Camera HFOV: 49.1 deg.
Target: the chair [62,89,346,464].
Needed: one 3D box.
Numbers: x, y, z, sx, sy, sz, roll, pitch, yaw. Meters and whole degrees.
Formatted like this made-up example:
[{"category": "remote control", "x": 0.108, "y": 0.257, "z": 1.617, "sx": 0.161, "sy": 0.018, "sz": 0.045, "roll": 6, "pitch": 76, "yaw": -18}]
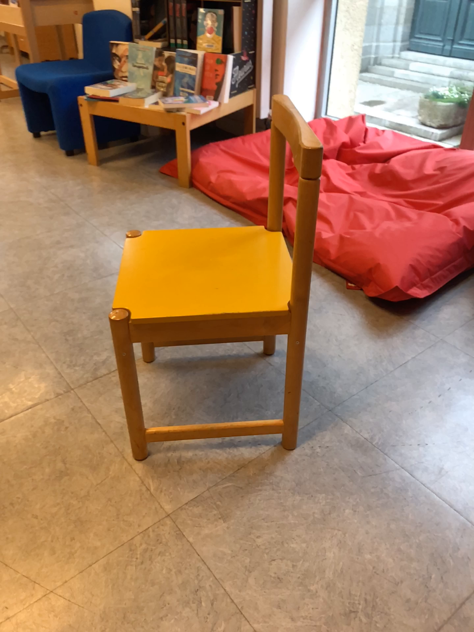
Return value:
[{"category": "chair", "x": -0.065, "y": -0.091, "z": 1.142, "sx": 0.420, "sy": 0.666, "sz": 0.453, "roll": -3, "pitch": 35, "yaw": -5}]
